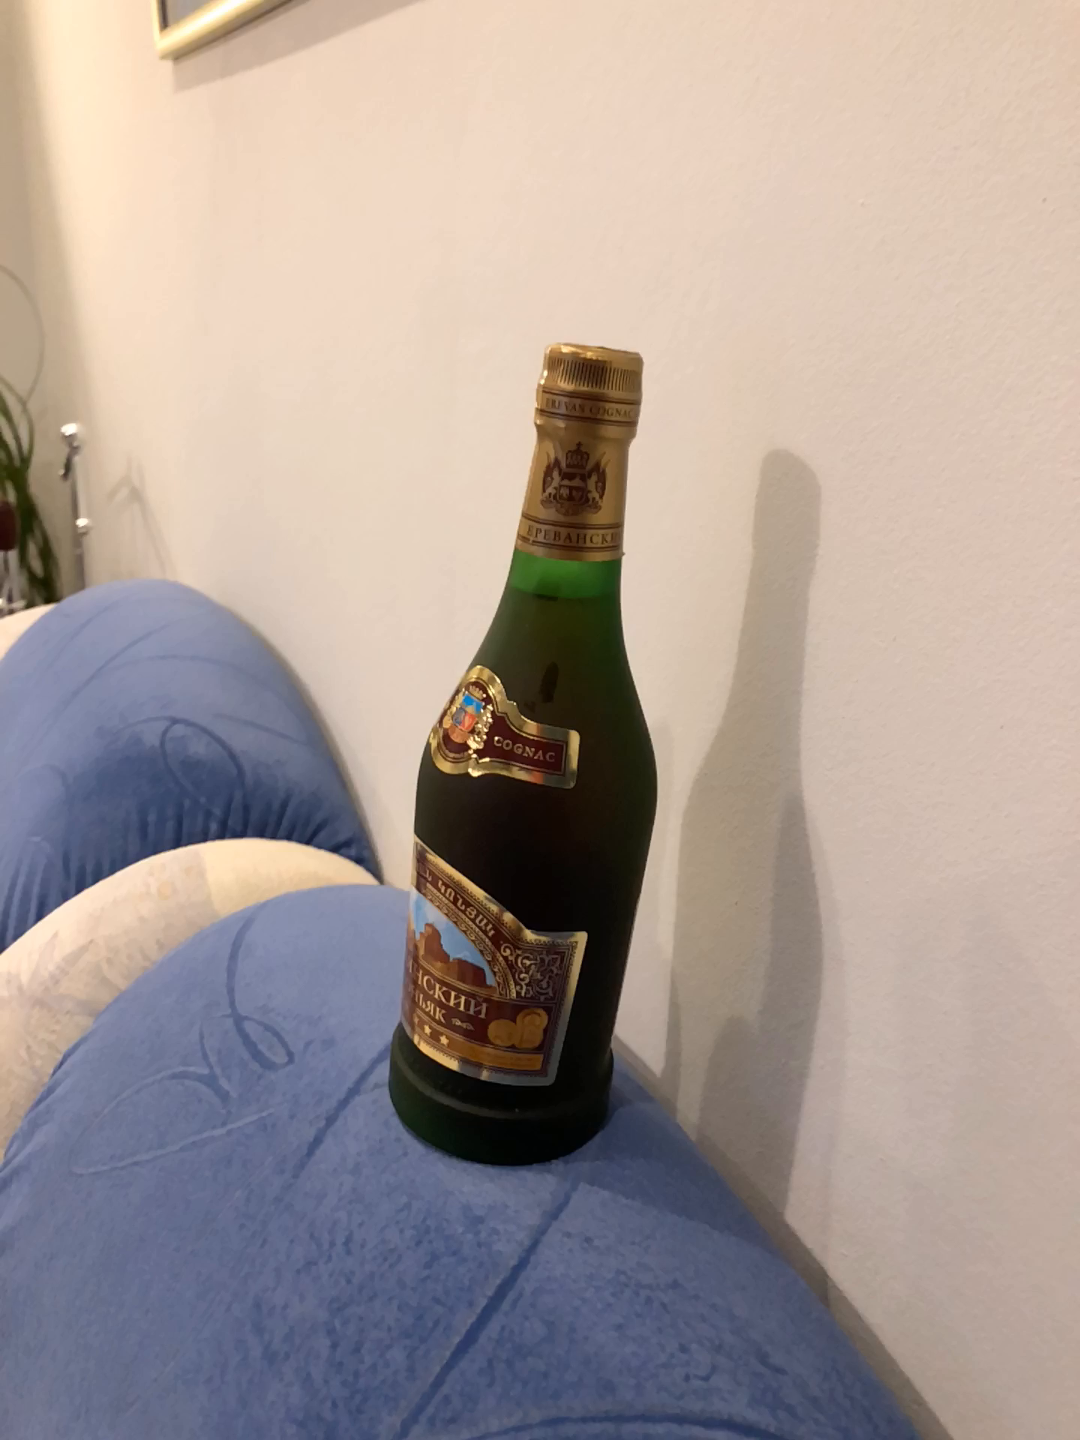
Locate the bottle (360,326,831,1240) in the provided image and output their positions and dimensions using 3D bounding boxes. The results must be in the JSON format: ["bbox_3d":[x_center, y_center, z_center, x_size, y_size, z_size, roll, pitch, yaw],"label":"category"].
[{"bbox_3d":[0.007,0.014,0.358,0.080,0.243,0.090,-7,21,-33],"label":"bottle"}]
